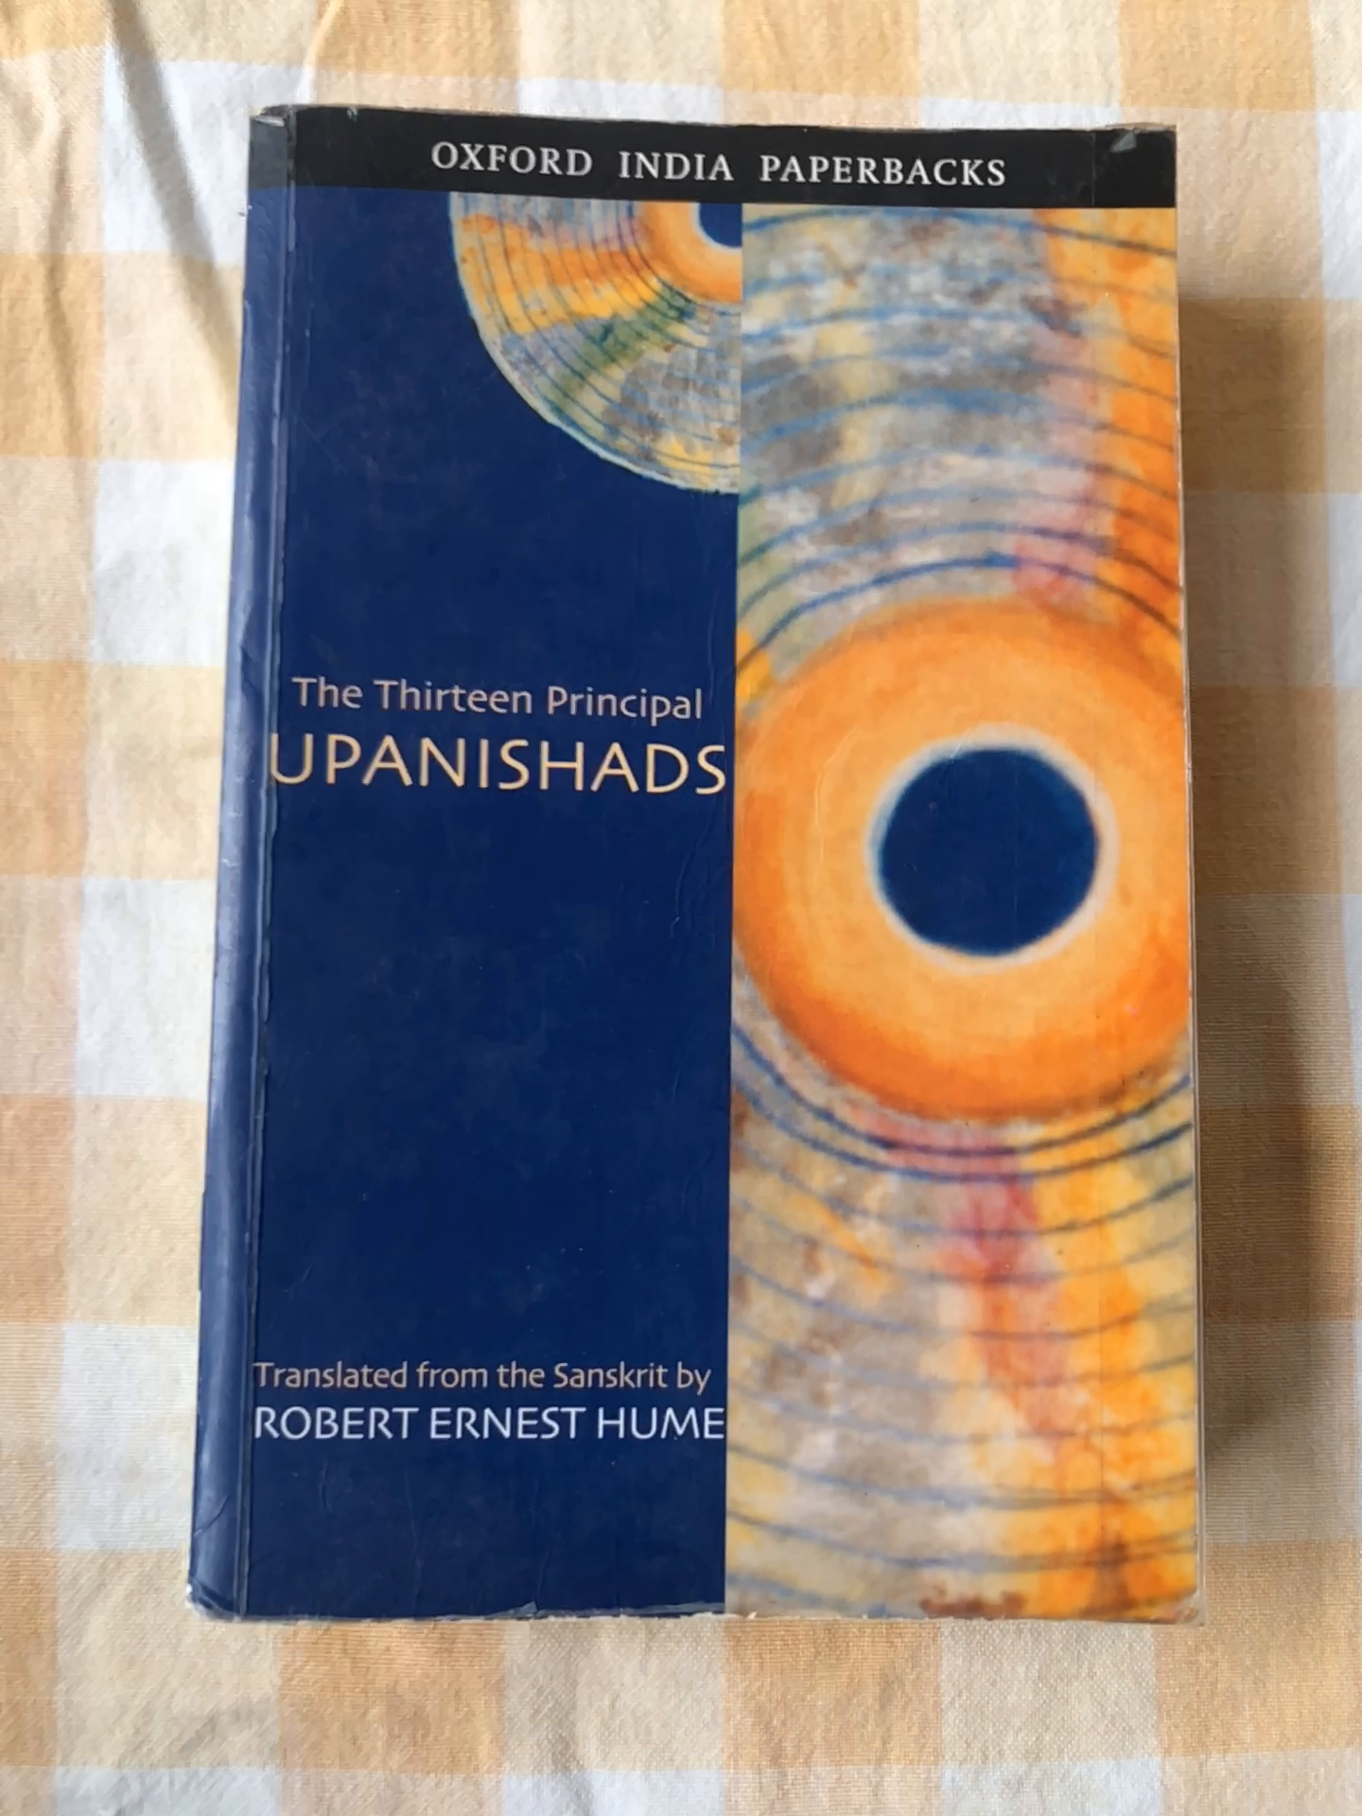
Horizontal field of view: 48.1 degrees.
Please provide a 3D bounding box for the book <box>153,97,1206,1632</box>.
[{"bbox_3d":[0.001,-0.008,0.231,0.140,0.040,0.210,1,85,-3],"label":"book"}]
